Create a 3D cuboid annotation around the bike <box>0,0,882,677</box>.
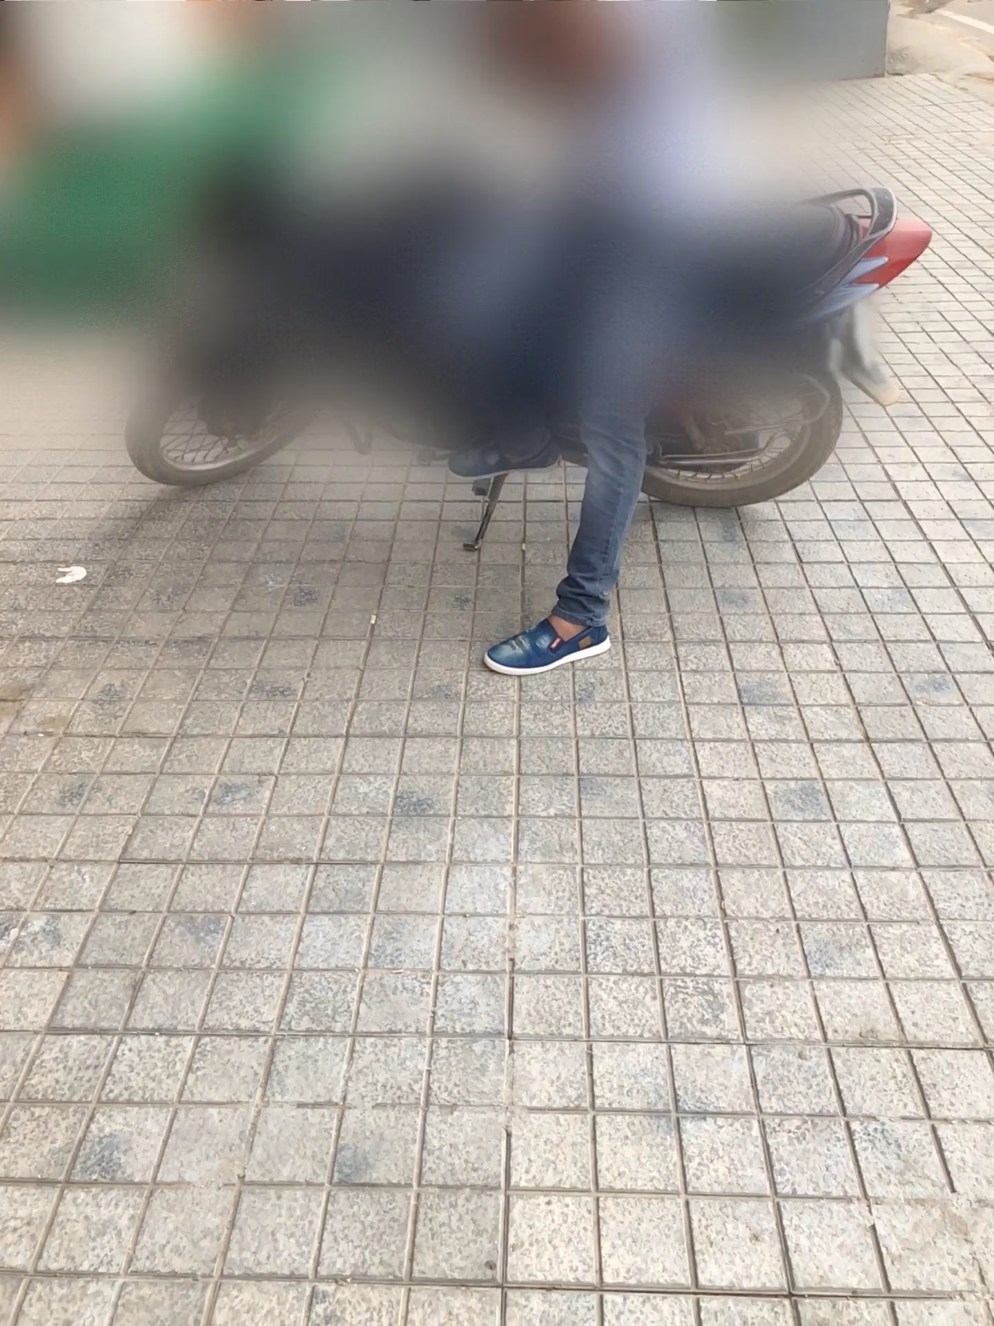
[{"bbox_3d":[-0.163,-0.768,2.357,1.819,1.345,0.817,-2,35,5],"label":"bike"}]
